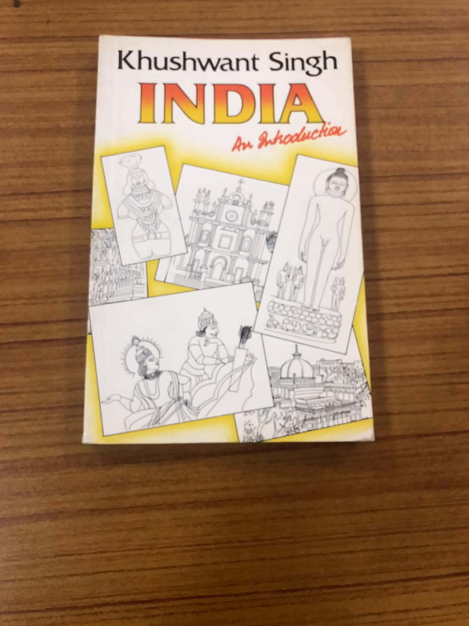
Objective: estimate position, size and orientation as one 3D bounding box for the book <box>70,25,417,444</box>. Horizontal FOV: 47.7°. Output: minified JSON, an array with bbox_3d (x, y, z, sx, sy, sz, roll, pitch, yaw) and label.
[{"bbox_3d":[0.003,-0.039,0.242,0.140,0.020,0.190,0,79,-3],"label":"book"}]
